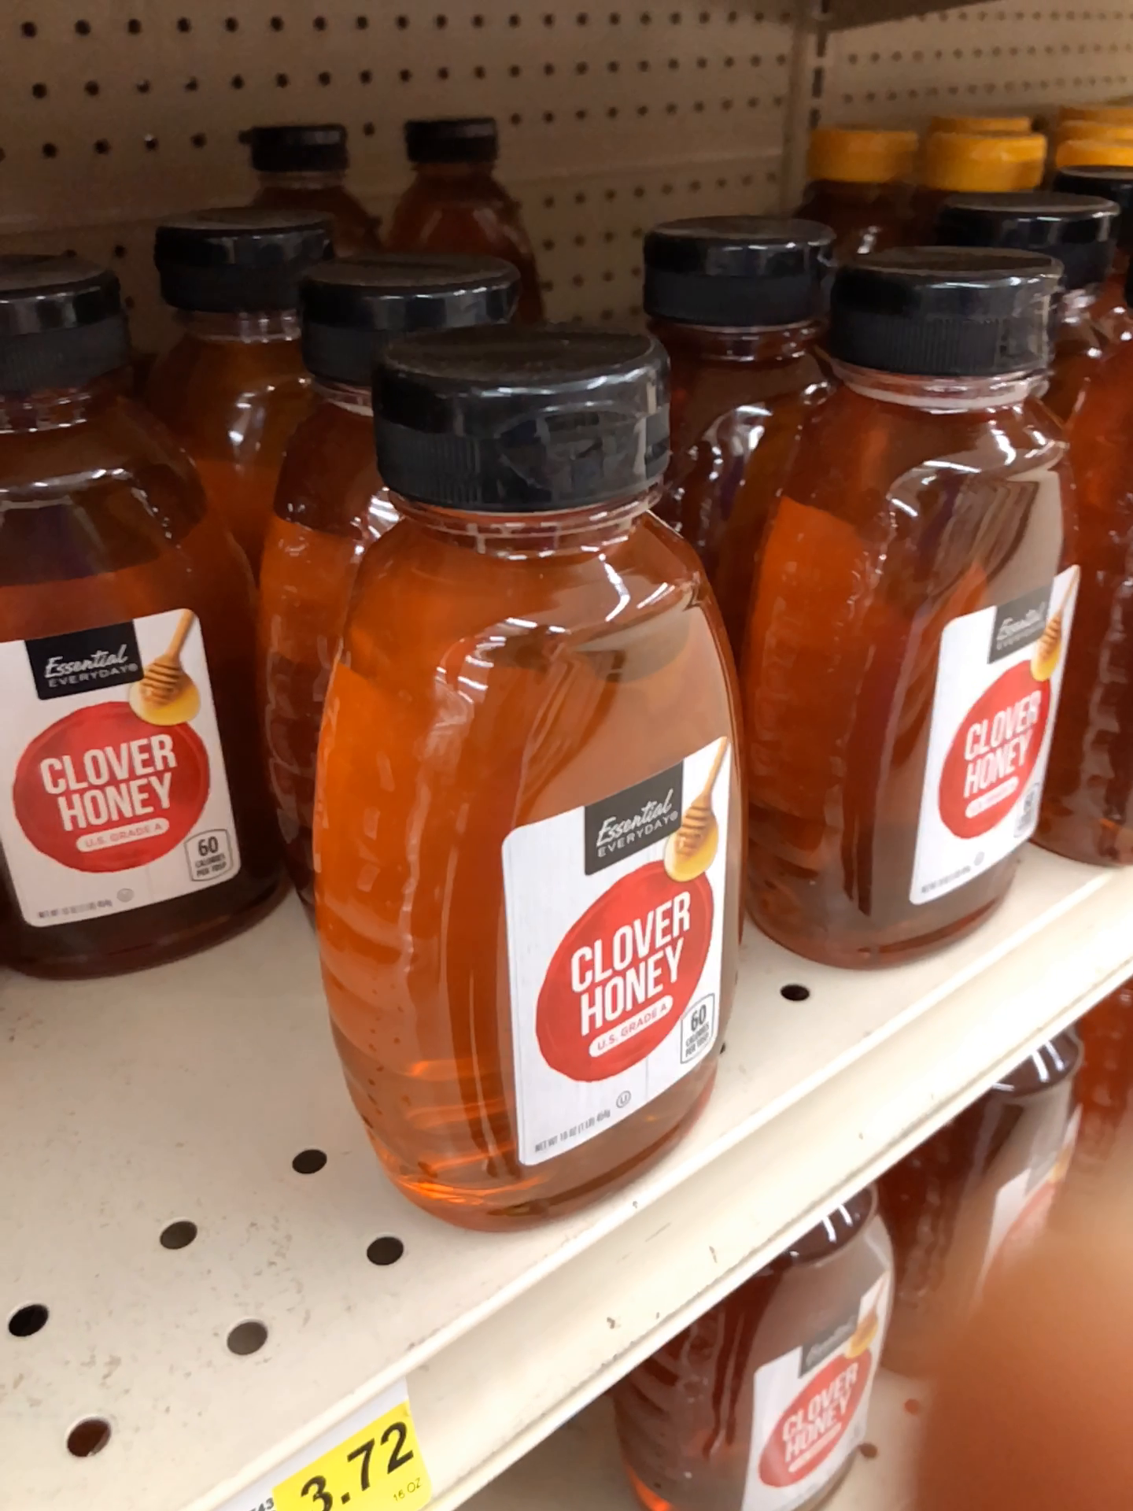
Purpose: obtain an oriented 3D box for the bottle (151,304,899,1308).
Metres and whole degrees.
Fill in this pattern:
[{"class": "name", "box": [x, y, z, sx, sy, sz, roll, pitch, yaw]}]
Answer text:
[{"class": "bottle", "box": [-0.004, 0.004, 0.207, 0.083, 0.130, 0.060, -24, 38, -34]}]
